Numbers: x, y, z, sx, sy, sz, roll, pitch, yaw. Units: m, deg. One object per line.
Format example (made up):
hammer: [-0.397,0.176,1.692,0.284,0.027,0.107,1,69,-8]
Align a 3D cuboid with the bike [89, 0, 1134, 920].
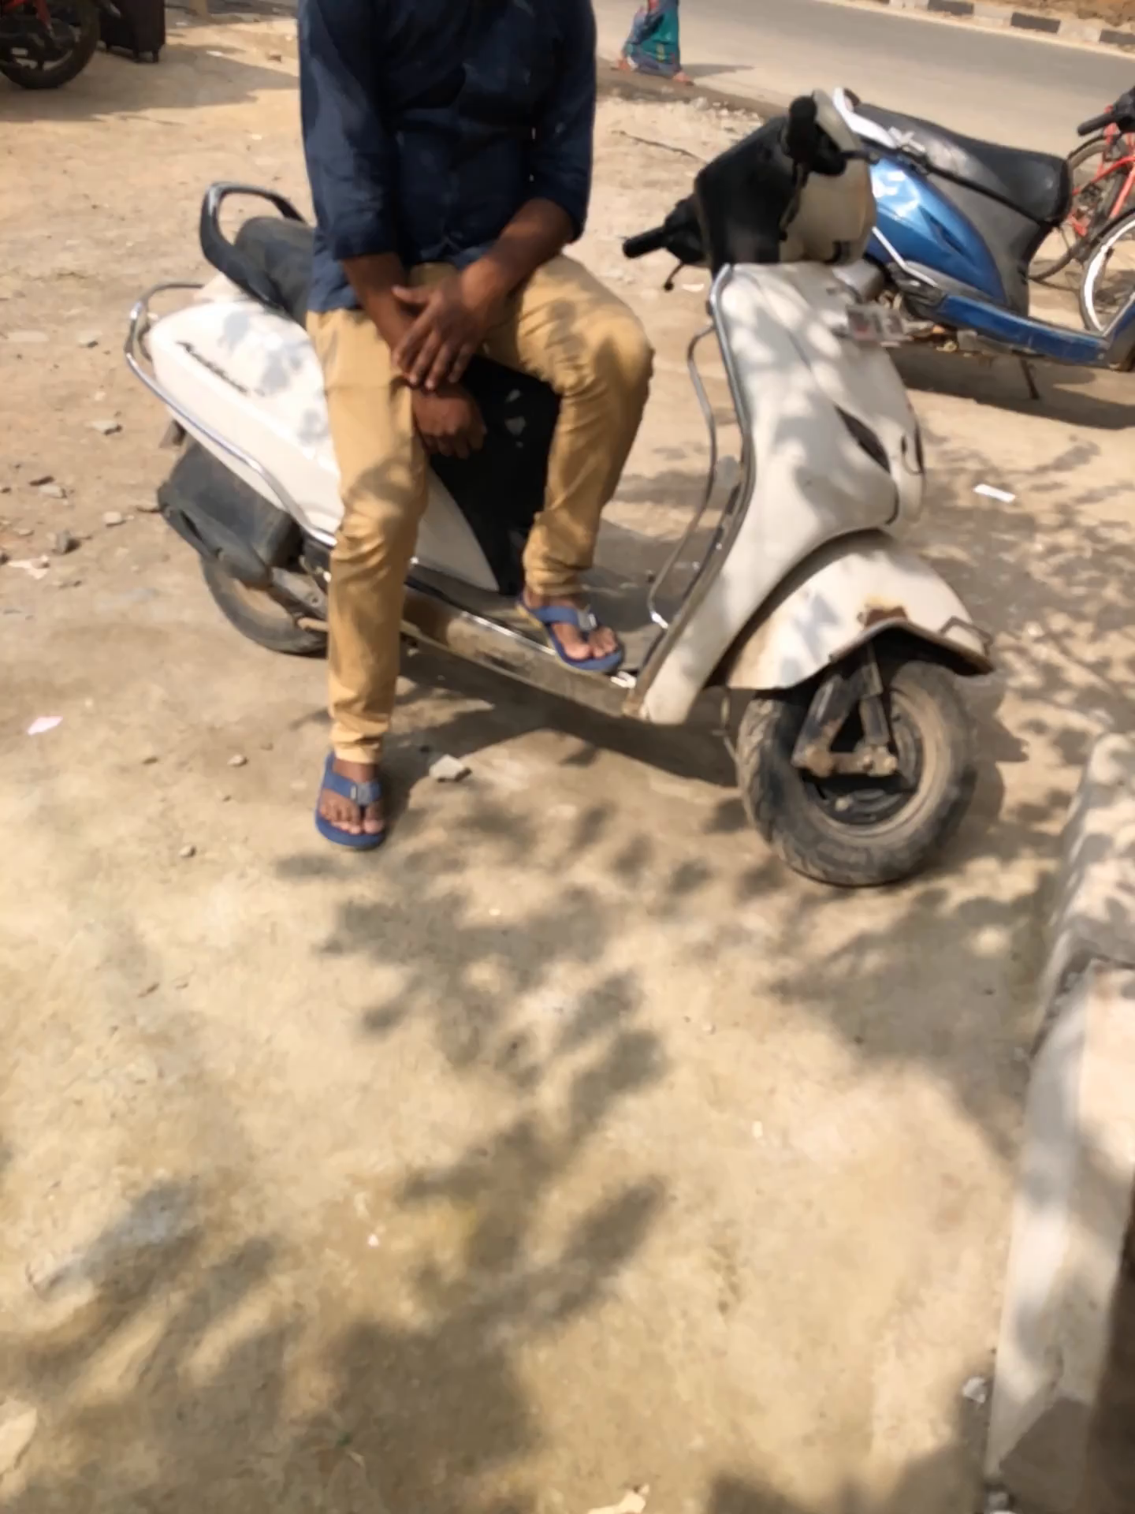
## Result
bike: [0.093,-0.612,2.198,1.592,1.186,0.626,21,41,19]
